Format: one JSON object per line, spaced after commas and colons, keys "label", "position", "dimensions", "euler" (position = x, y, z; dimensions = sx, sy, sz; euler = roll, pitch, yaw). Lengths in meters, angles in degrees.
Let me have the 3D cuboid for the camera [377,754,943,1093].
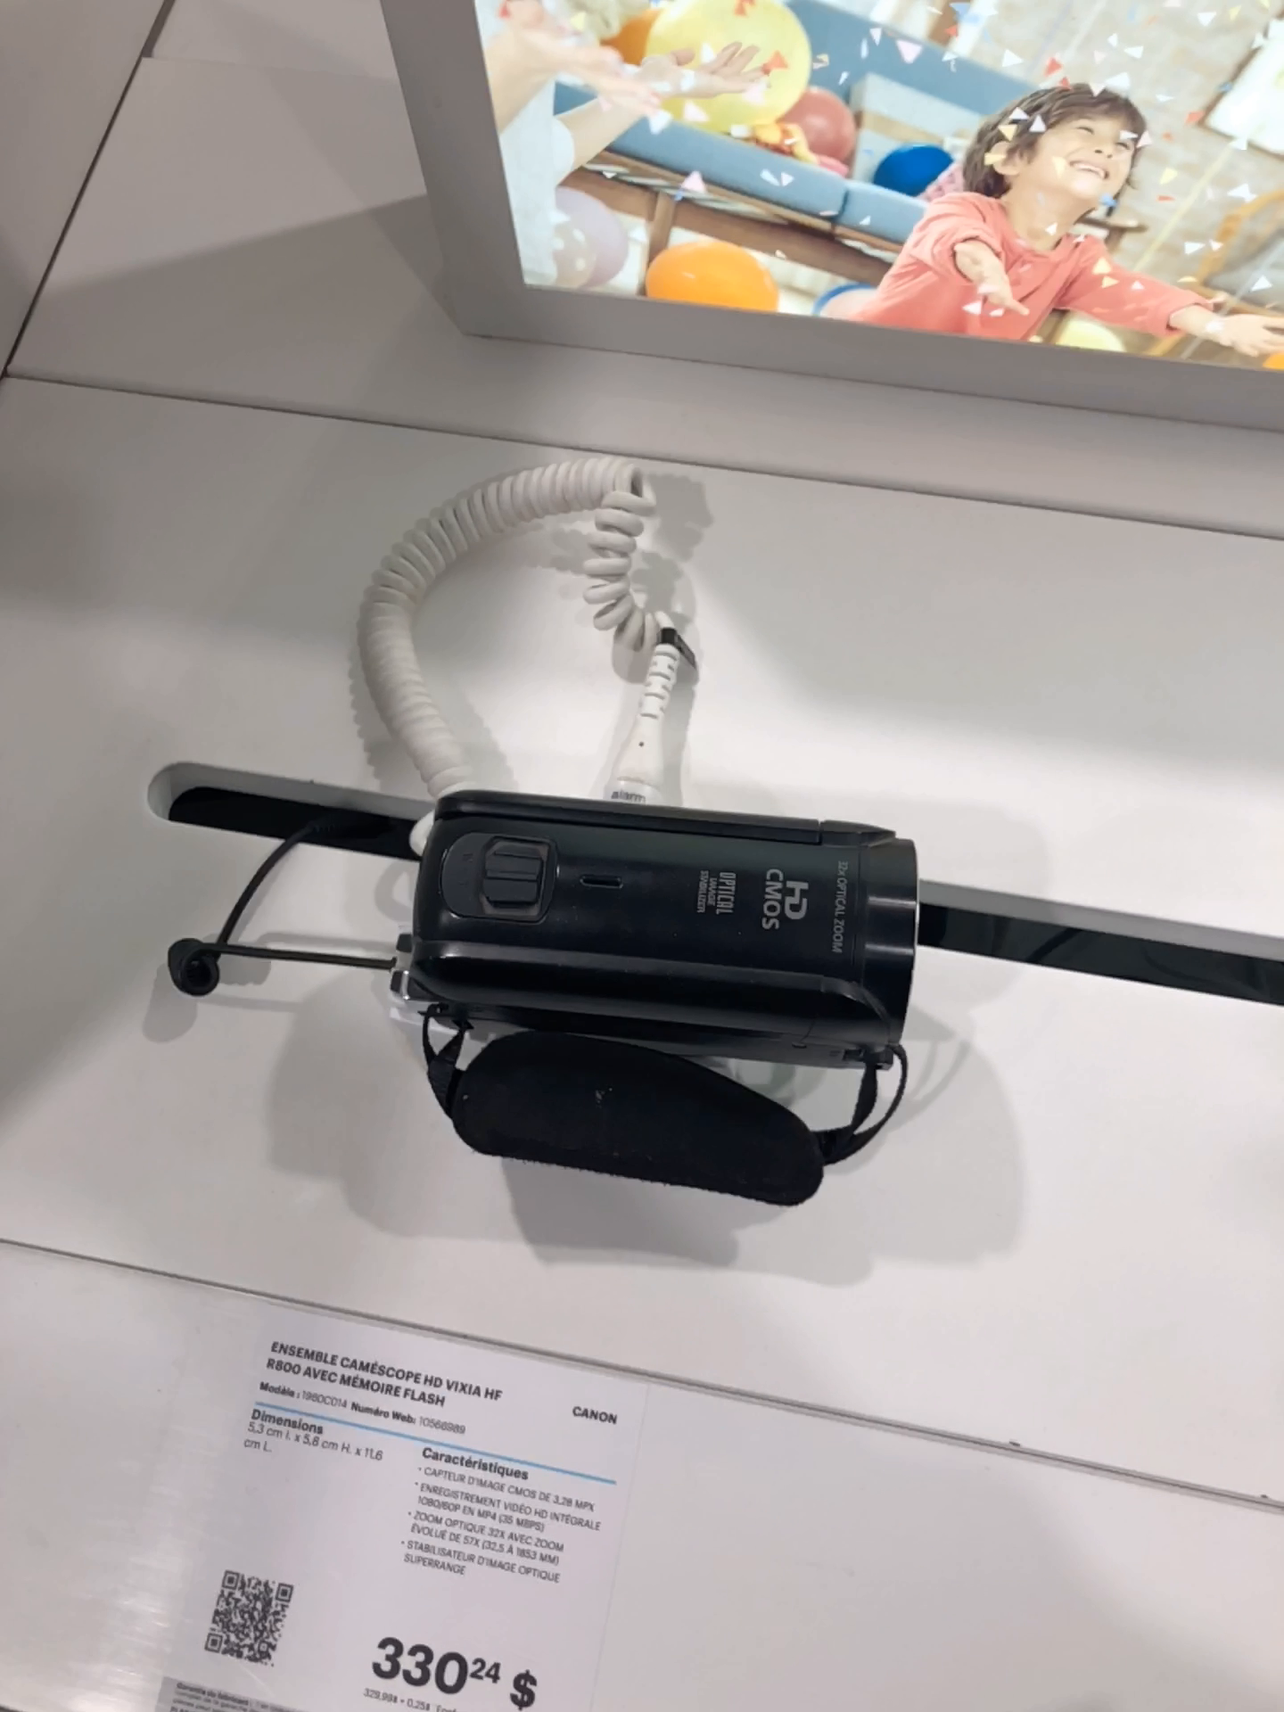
{"label": "camera", "position": [0.006, 0.016, 0.321], "dimensions": [0.113, 0.050, 0.050], "euler": [6, 69, 6]}
